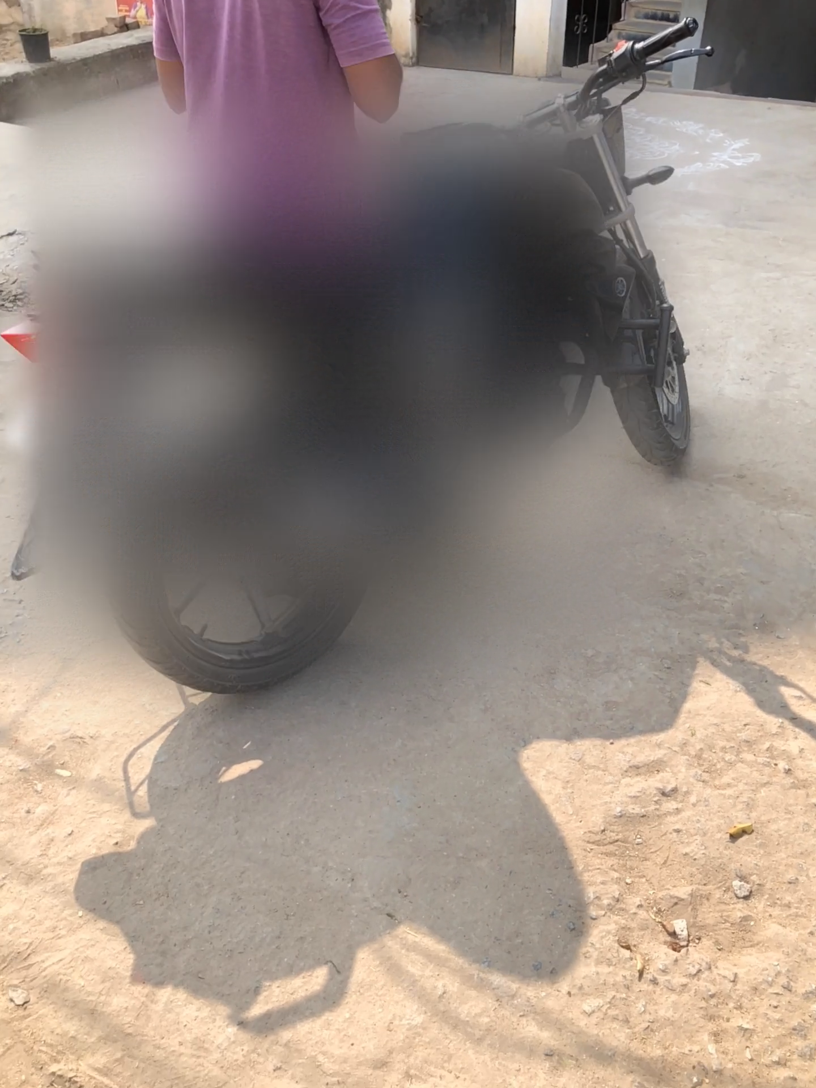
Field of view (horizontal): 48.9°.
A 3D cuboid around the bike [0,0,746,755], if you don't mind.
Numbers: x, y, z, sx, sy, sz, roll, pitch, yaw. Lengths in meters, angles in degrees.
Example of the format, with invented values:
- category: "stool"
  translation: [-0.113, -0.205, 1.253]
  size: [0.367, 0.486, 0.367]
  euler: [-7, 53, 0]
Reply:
- category: "bike"
  translation: [-0.017, -0.590, 1.967]
  size: [0.684, 0.959, 1.696]
  euler: [26, 47, 32]
